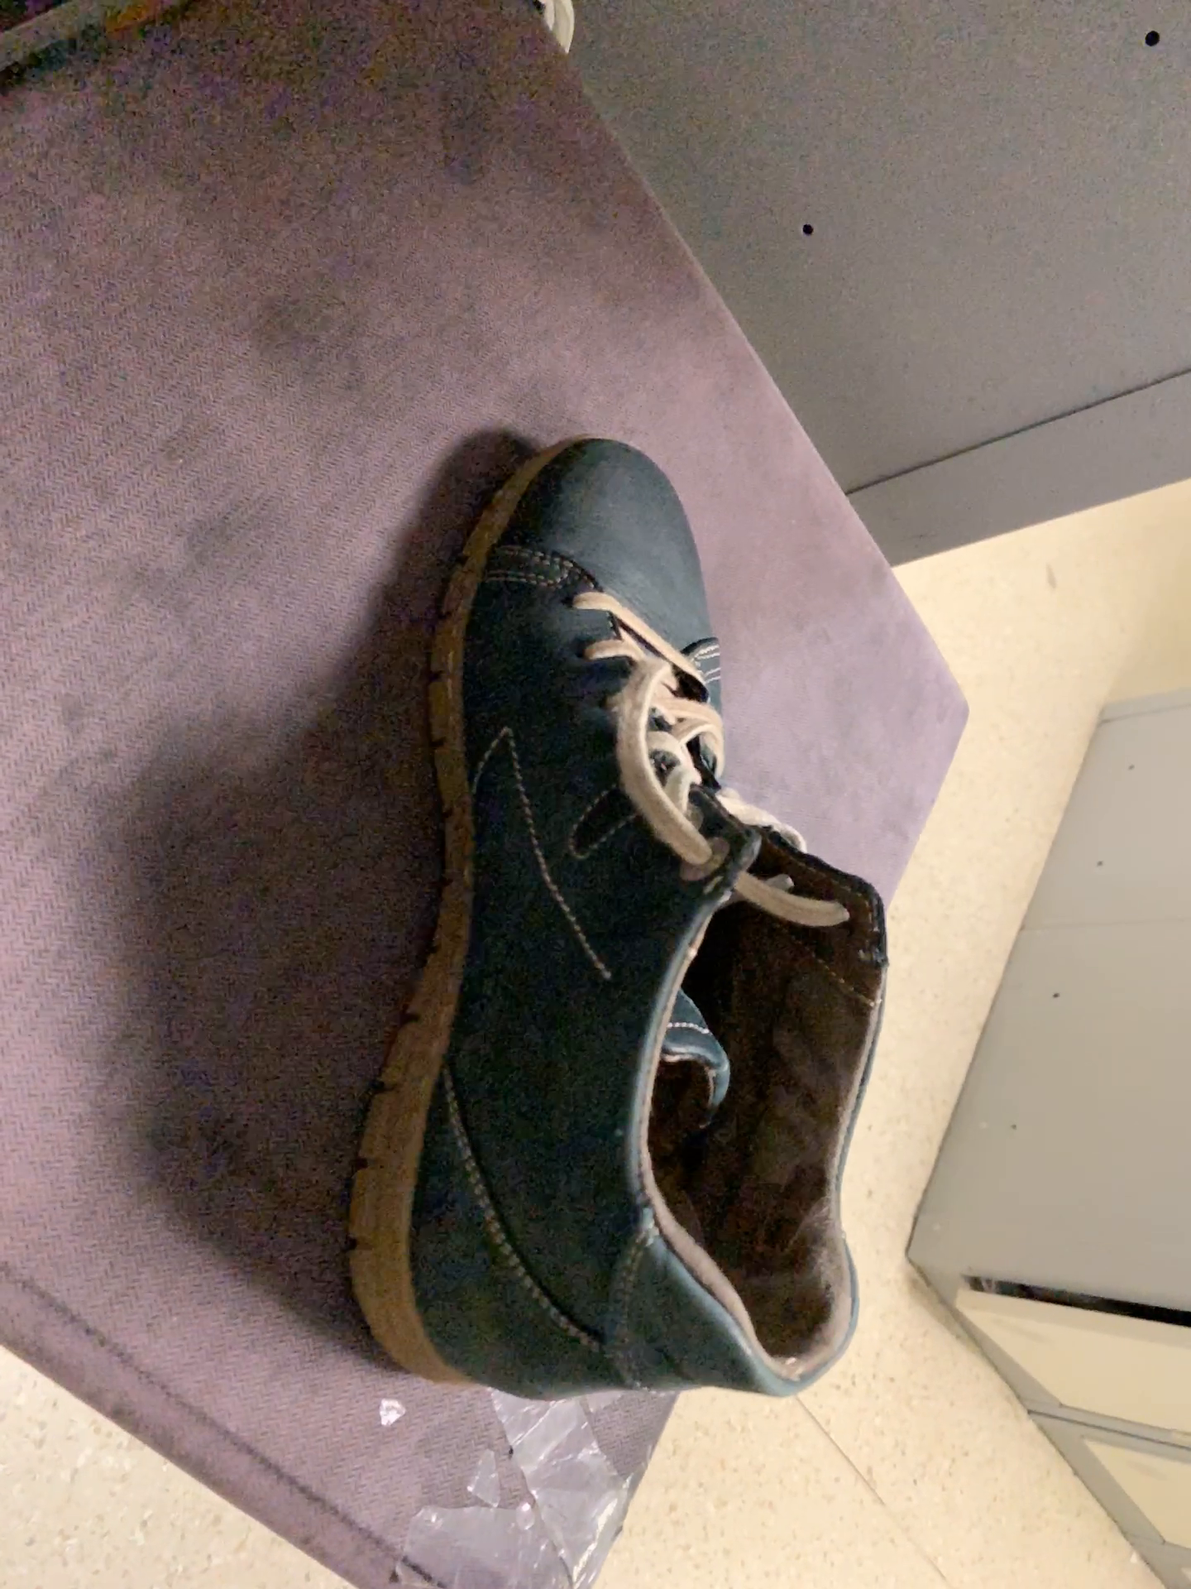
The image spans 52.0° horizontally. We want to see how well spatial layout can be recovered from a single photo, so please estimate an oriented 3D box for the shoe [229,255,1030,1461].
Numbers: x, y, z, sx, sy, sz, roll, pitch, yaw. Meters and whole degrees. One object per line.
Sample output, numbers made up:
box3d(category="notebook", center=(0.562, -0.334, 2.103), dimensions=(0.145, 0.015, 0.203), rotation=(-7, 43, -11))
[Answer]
box3d(category="shoe", center=(0.016, 0.019, 0.318), dimensions=(0.104, 0.142, 0.245), rotation=(26, 65, -38))
